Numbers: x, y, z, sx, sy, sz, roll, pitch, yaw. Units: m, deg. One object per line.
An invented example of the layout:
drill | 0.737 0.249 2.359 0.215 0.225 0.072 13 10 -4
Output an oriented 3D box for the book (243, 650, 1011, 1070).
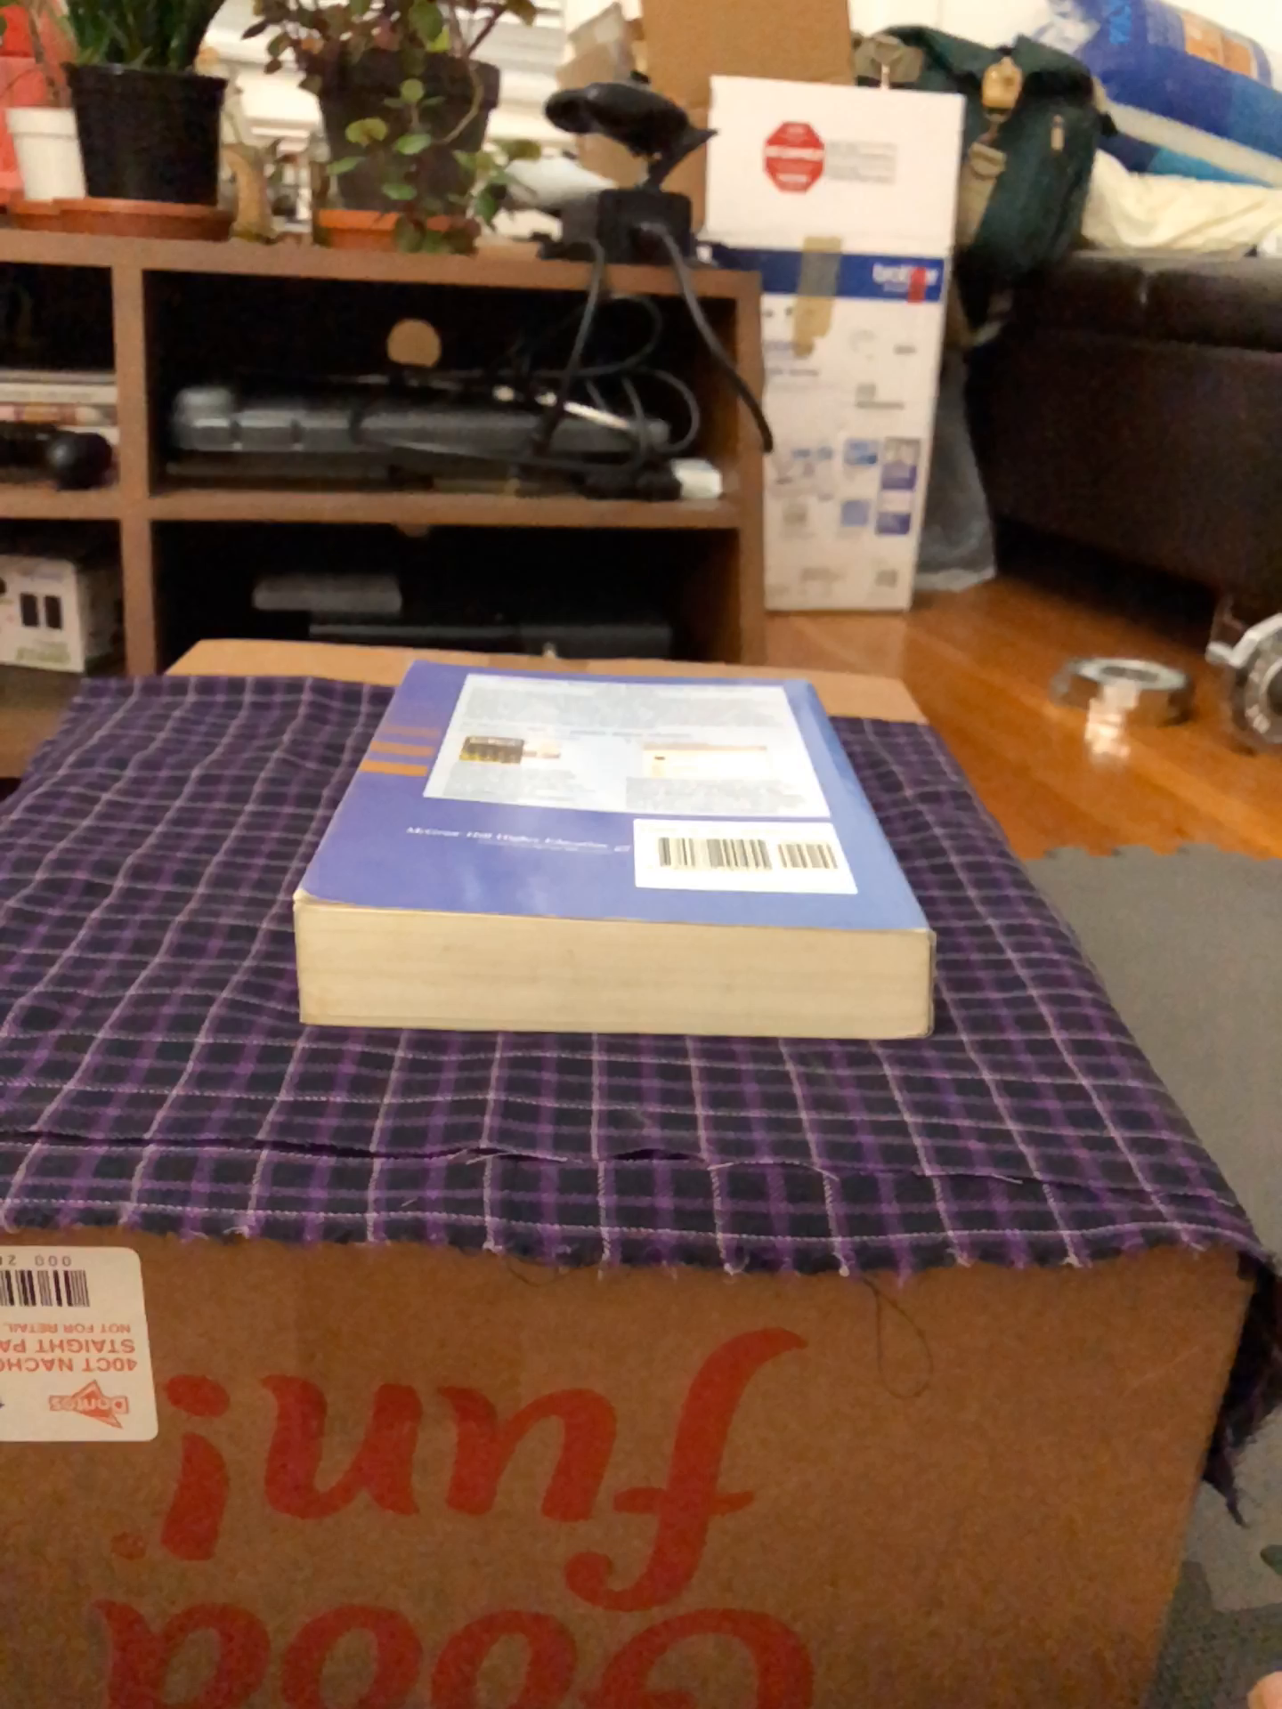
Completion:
book | -0.008 -0.013 0.452 0.180 0.040 0.241 1 22 -3
